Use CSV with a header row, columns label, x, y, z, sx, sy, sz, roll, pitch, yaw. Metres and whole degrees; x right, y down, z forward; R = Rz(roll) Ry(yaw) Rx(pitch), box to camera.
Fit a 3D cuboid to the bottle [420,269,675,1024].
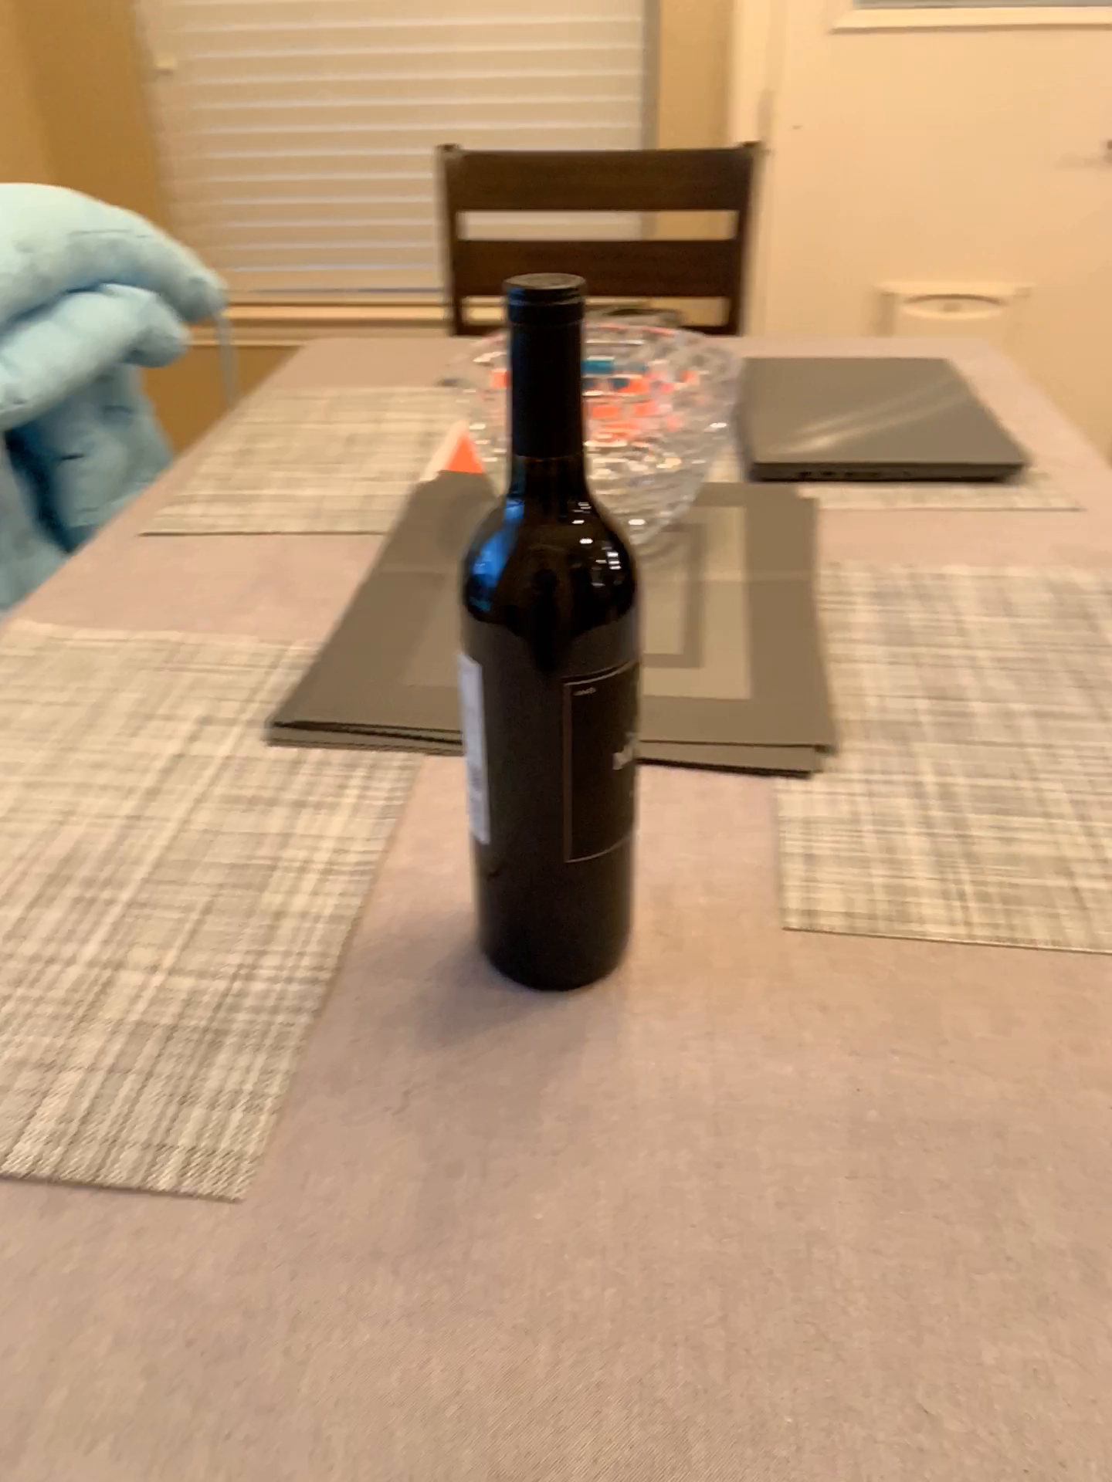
label,x,y,z,sx,sy,sz,roll,pitch,yaw
bottle,0.003,-0.025,0.486,0.080,0.314,0.080,-1,32,0
